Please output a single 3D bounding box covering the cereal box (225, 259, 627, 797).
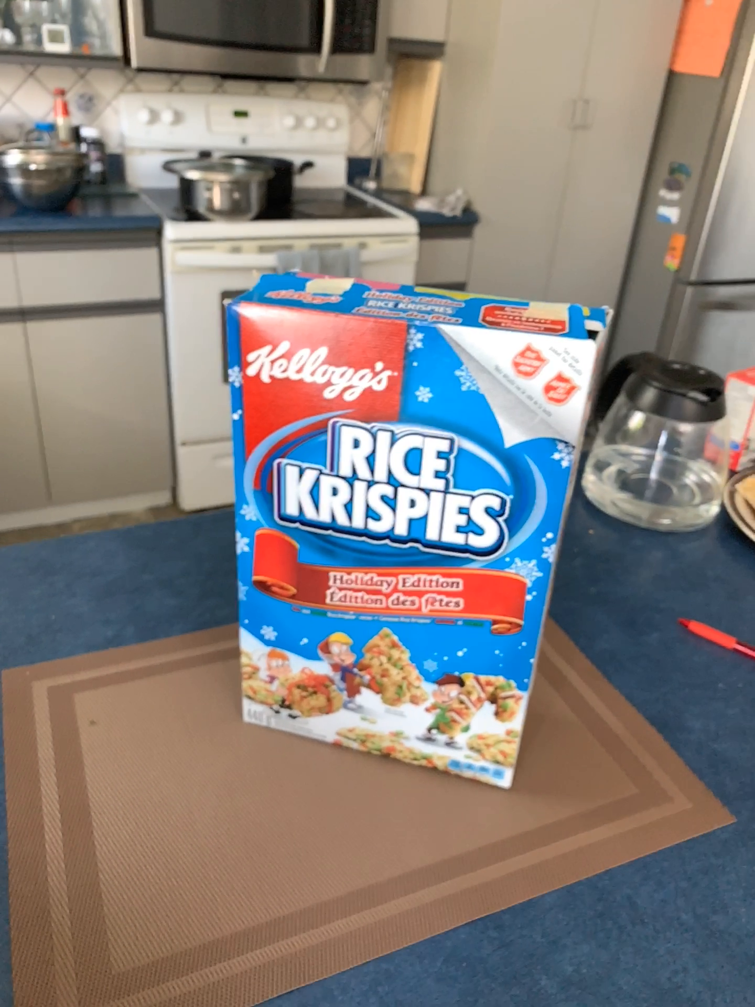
[{"bbox_3d":[0.018,0.024,0.529,0.220,0.327,0.081,10,28,10],"label":"cereal box"}]
